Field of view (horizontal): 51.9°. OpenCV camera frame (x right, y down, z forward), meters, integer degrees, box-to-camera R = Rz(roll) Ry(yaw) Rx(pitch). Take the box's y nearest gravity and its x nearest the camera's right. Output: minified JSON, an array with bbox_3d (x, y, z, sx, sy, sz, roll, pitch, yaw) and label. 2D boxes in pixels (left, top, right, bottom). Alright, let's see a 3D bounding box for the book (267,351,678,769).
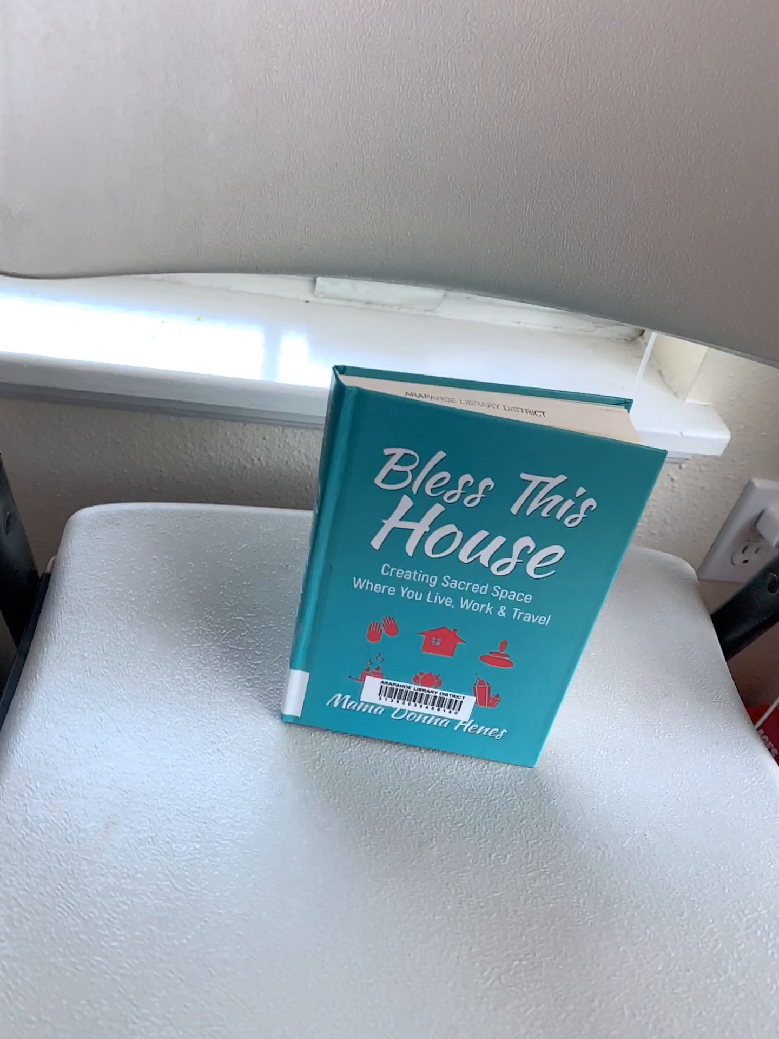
[{"bbox_3d":[0.025,0.028,0.365,0.141,0.181,0.051,6,31,-8],"label":"book"}]
